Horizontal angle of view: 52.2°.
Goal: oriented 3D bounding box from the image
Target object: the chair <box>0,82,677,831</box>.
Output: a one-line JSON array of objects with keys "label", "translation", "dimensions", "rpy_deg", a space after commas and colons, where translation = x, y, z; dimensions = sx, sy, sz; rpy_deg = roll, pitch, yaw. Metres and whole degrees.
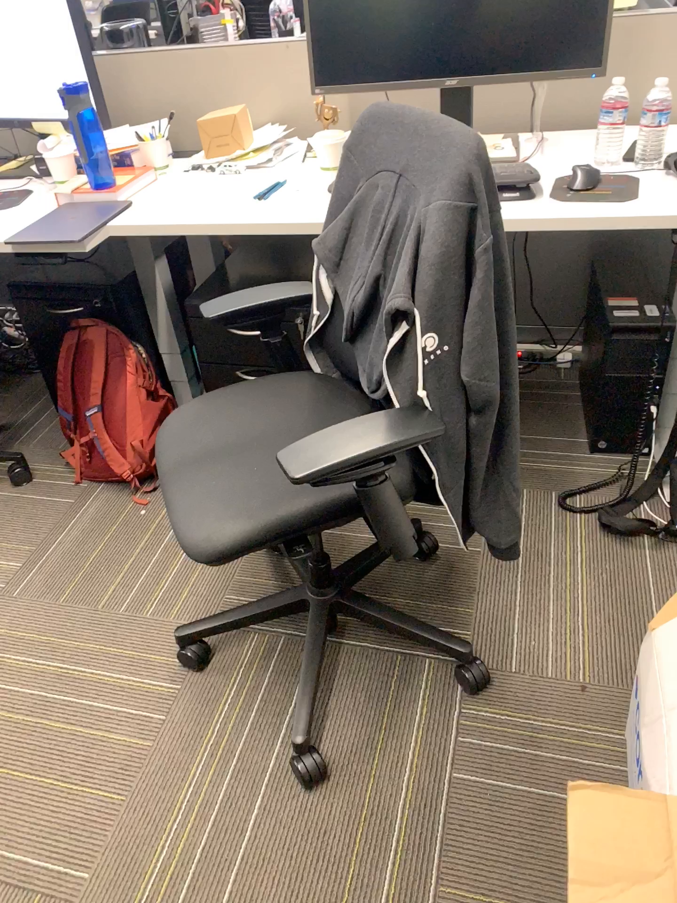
[{"label": "chair", "translation": [-0.021, -0.035, 1.300], "dimensions": [0.800, 0.994, 0.684], "rpy_deg": [-20, 38, -18]}]
